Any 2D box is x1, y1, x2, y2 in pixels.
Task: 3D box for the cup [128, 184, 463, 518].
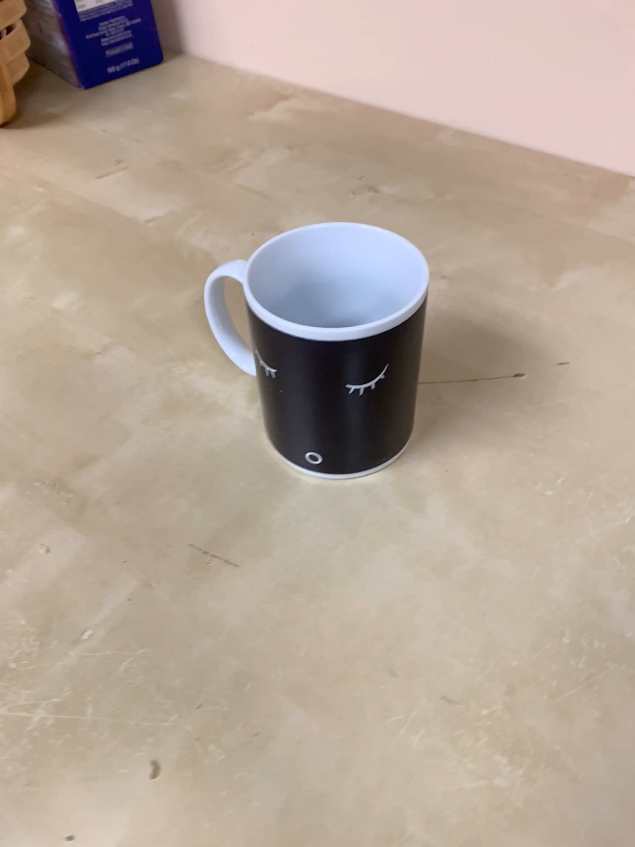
[{"bbox_3d":[-0.008,-0.038,0.324,0.122,0.101,0.084,24,53,23],"label":"cup"}]
